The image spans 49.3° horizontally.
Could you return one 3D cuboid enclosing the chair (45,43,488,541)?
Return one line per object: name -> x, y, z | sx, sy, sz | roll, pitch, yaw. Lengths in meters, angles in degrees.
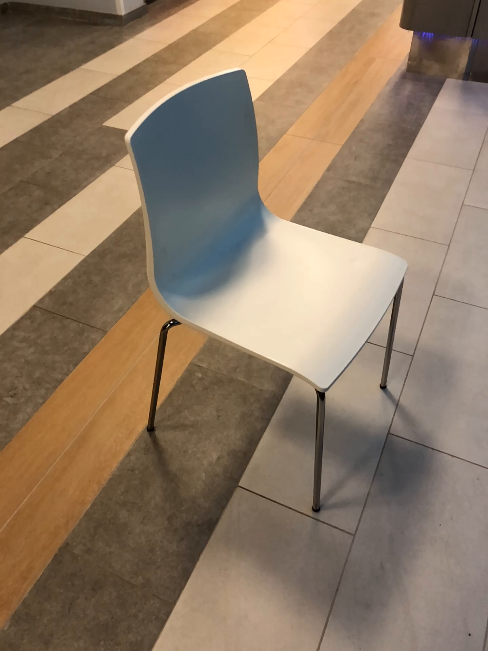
chair -> 0.081, -0.076, 1.174 | 0.551, 0.776, 0.582 | 21, 49, 21
